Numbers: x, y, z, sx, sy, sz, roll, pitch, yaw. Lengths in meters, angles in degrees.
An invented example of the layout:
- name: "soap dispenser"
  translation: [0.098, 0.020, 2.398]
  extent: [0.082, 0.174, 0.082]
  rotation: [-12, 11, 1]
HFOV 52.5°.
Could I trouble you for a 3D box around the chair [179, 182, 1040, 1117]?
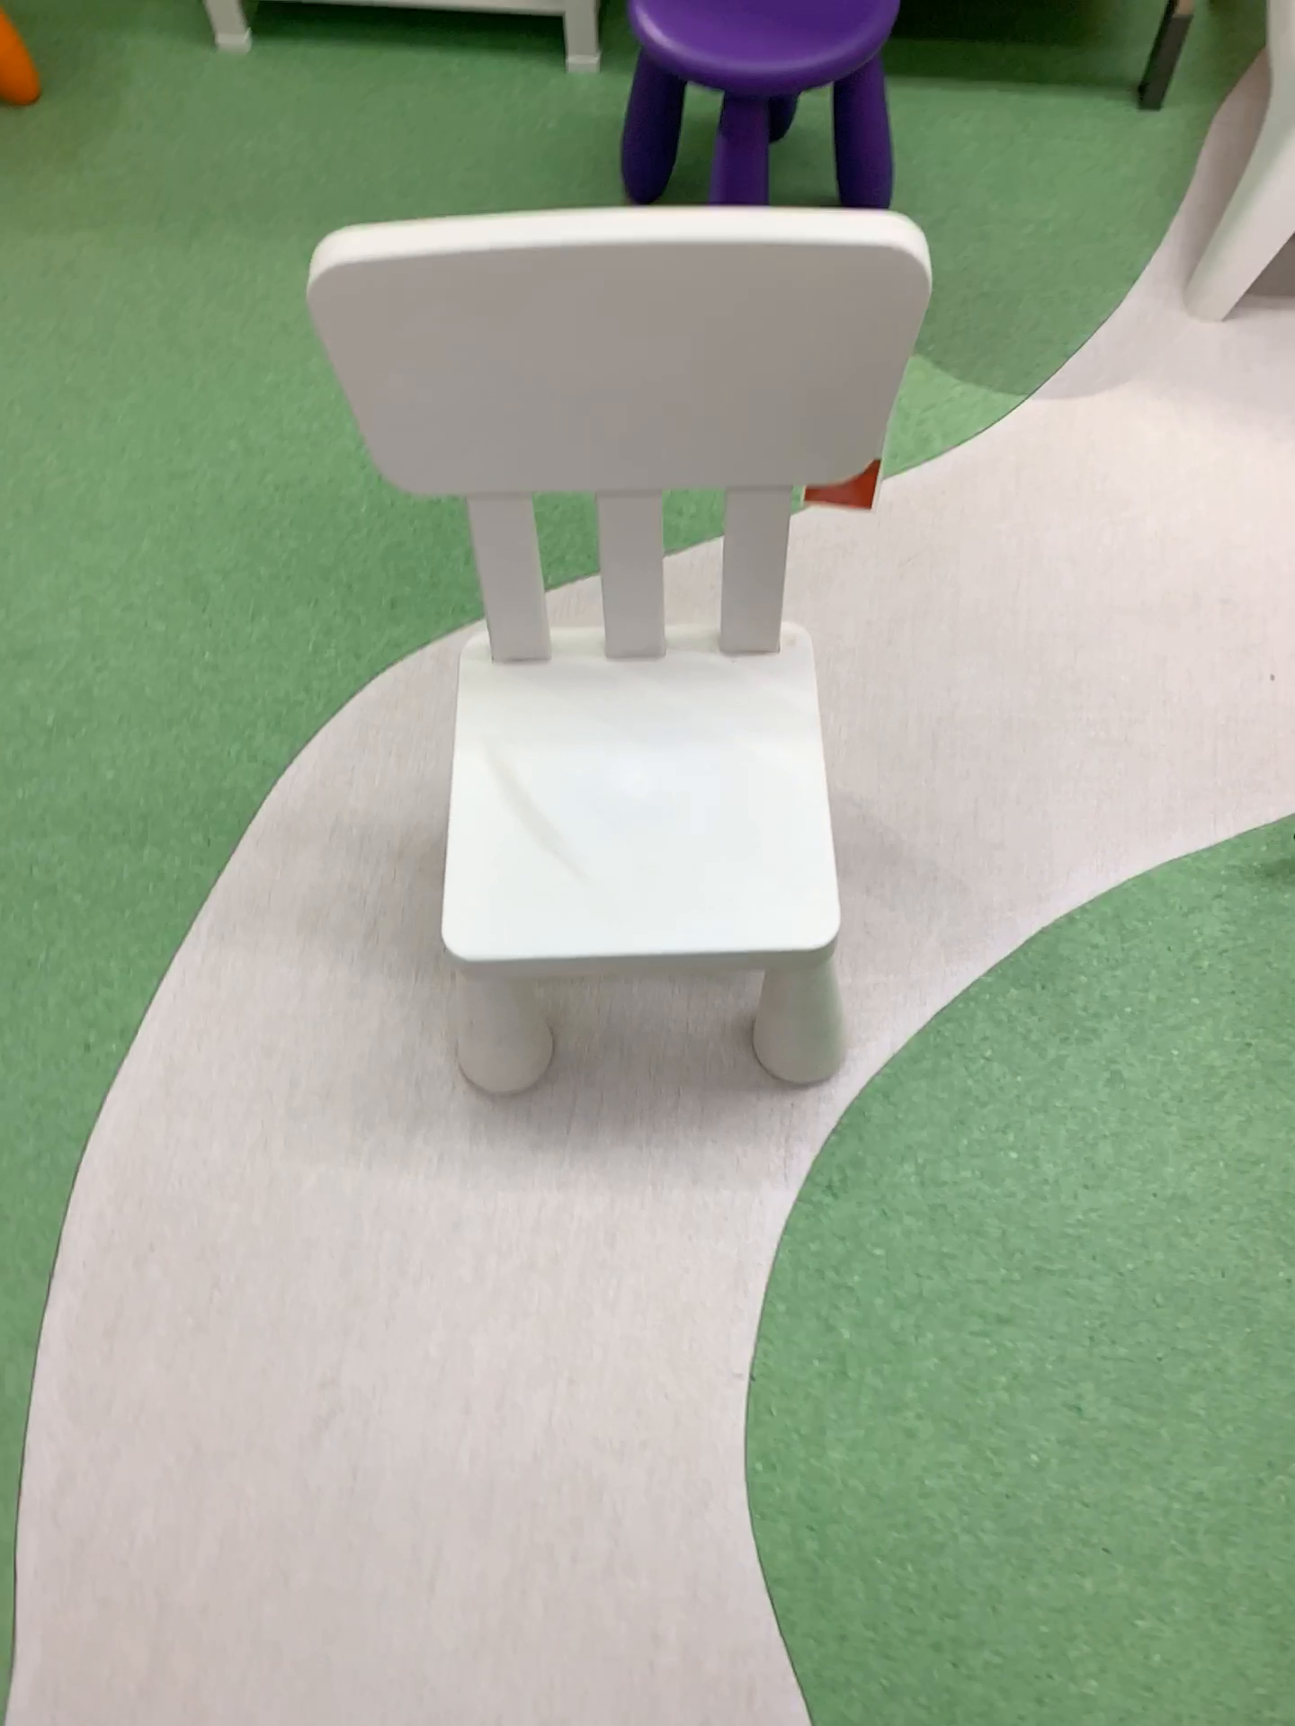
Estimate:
- name: "chair"
  translation: [-0.011, -0.096, 1.003]
  extent: [0.420, 0.599, 0.441]
  rotation: [-1, 66, 2]
